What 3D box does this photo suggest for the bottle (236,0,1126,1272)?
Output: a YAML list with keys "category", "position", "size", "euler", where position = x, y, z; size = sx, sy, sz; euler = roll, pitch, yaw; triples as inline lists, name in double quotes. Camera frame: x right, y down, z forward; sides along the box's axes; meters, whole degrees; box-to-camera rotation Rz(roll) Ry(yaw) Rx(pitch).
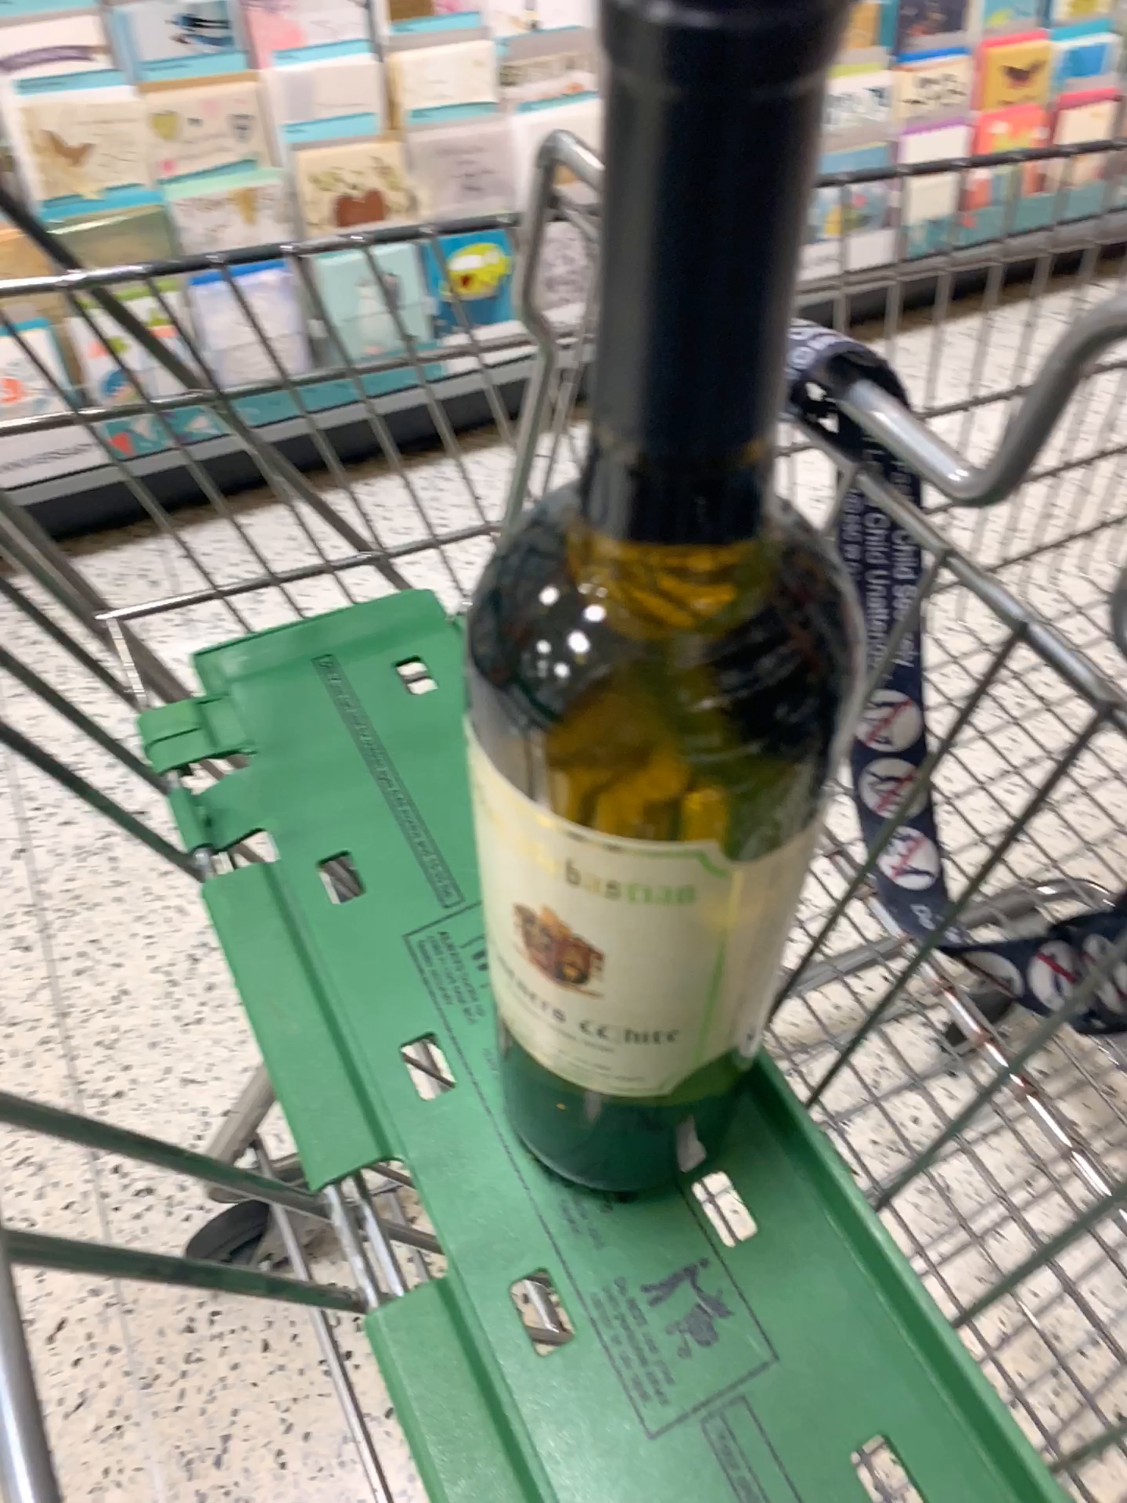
- category: "bottle"
  position: [0.018, 0.008, 0.237]
  size: [0.080, 0.307, 0.070]
  euler: [28, 55, 20]
